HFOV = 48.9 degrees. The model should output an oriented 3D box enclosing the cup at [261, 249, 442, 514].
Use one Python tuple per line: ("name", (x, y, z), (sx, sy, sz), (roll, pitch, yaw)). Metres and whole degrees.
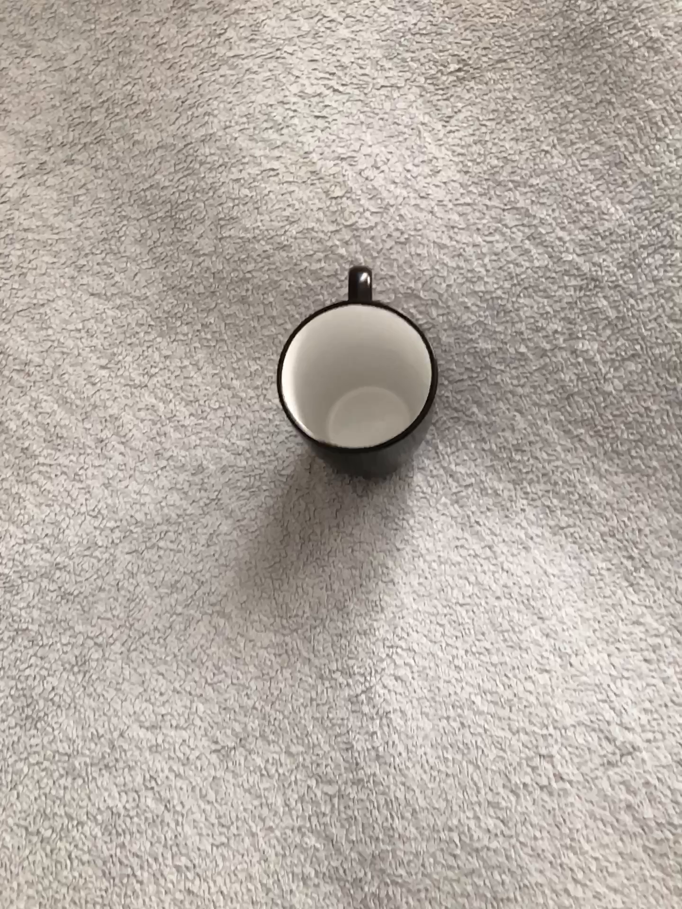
("cup", (0.012, -0.037, 0.441), (0.090, 0.090, 0.128), (-1, 73, 9))
